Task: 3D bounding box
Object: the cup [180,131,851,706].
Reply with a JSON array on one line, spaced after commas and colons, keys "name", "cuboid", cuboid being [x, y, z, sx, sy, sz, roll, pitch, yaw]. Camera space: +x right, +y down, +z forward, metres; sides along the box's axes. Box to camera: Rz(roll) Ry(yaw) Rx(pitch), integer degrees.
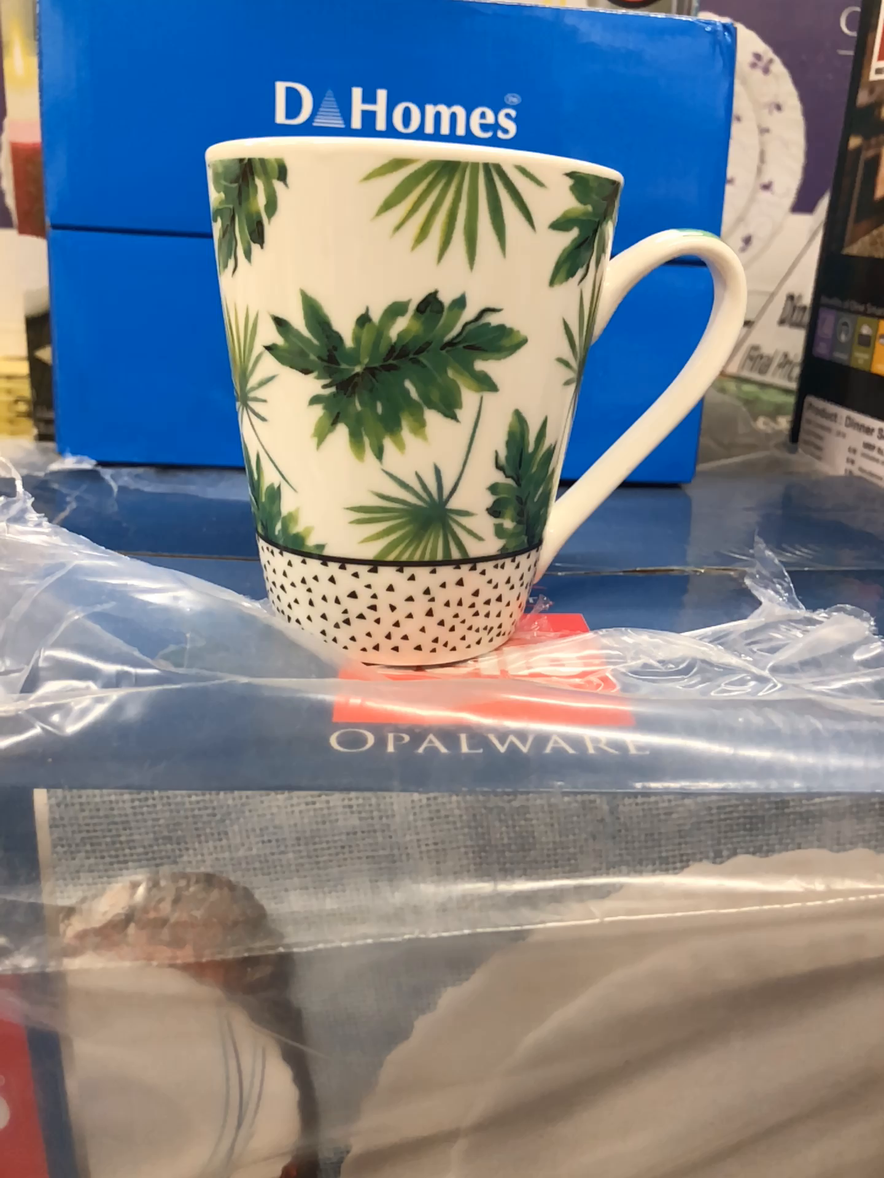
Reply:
[{"name": "cup", "cuboid": [0.006, -0.042, 0.222, 0.120, 0.099, 0.080, -3, 21, -15]}]
